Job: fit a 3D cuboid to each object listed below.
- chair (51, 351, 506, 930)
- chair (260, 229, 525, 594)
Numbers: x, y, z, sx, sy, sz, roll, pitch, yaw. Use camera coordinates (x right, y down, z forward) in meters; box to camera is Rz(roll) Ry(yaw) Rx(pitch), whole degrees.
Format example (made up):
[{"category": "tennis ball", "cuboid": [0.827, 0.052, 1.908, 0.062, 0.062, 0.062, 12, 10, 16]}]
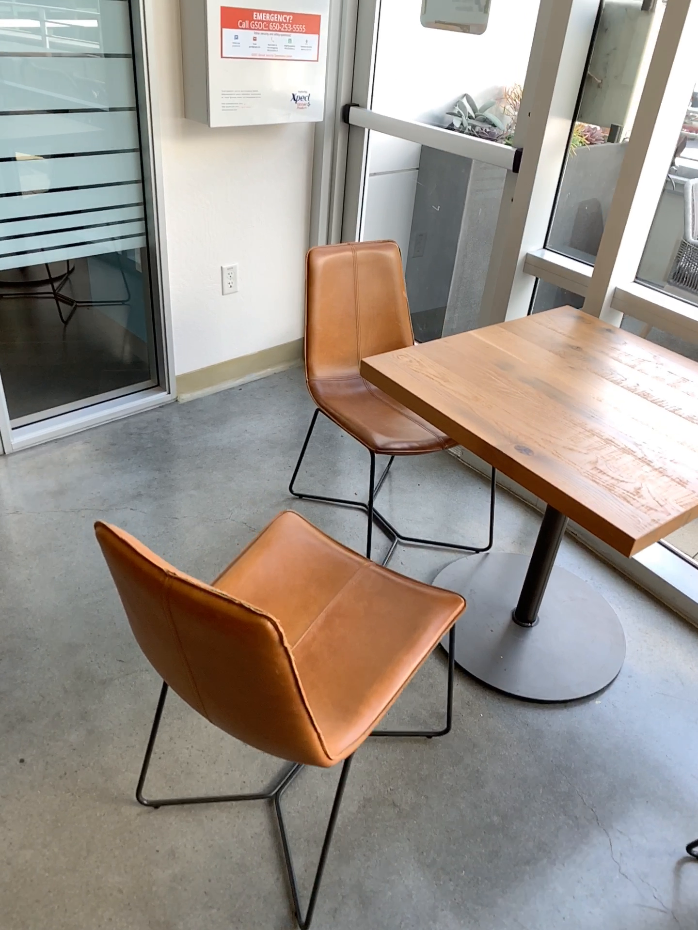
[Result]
[{"category": "chair", "cuboid": [-0.106, 0.339, 1.389, 0.491, 0.865, 0.542, 24, 42, 25]}, {"category": "chair", "cuboid": [0.083, -0.186, 2.136, 0.490, 0.865, 0.553, -16, 35, -28]}]
